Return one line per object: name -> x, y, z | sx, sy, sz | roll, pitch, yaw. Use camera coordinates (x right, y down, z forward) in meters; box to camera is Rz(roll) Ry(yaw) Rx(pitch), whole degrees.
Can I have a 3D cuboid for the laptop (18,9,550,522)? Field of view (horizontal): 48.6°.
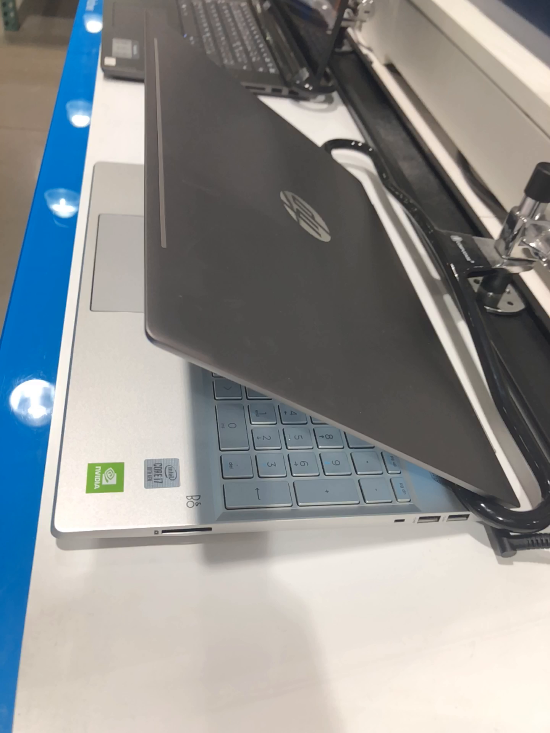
laptop -> -0.014, -0.094, 0.389 | 0.215, 0.124, 0.349 | 0, 45, -12
